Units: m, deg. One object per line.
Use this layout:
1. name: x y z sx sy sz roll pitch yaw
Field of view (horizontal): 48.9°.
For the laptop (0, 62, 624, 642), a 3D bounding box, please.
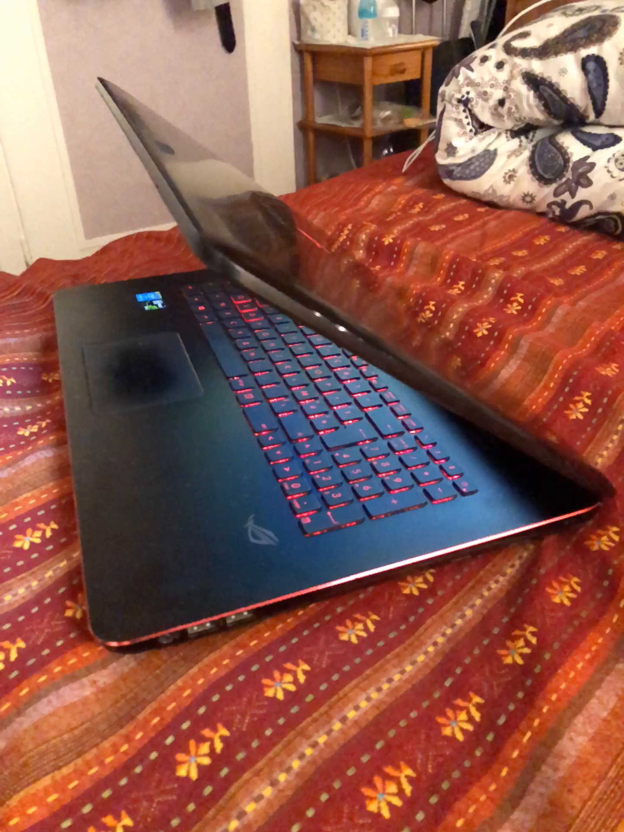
1. laptop: -0.035 -0.105 0.445 0.268 0.168 0.400 -11 35 -16
